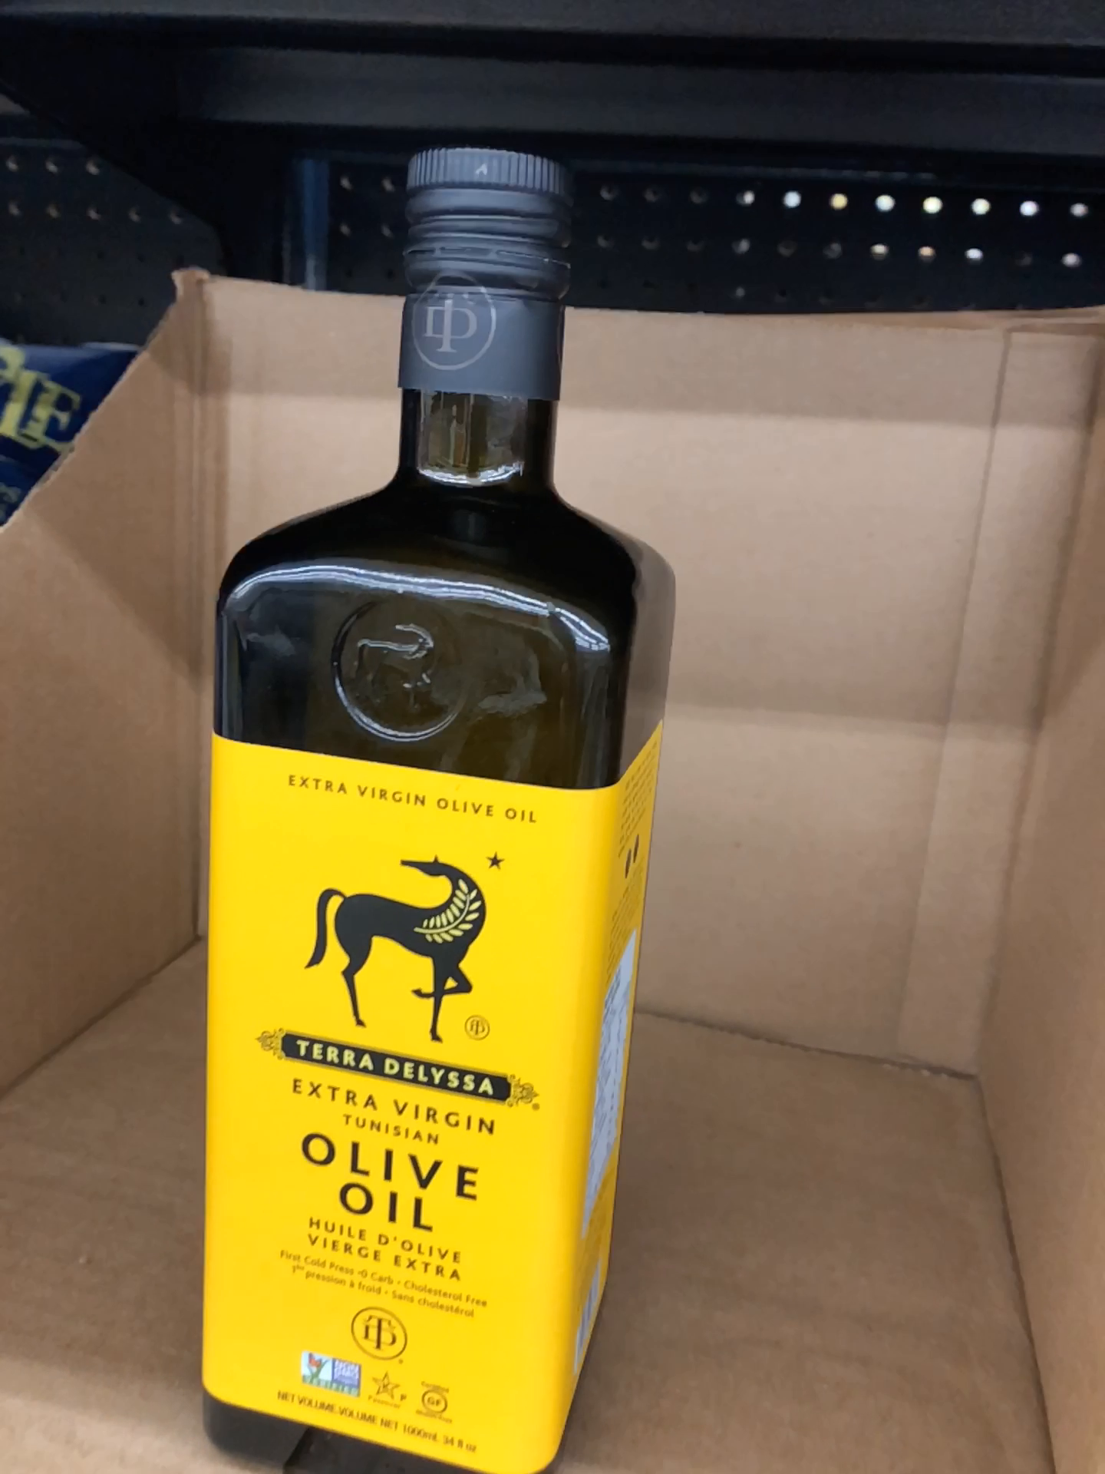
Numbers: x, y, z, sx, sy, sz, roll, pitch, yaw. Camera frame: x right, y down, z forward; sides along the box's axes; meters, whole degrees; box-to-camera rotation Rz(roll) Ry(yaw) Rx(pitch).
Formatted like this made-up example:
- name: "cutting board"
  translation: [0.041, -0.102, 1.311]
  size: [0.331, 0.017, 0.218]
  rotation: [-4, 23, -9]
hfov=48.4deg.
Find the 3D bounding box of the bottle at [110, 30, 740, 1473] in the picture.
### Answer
- name: "bottle"
  translation: [-0.023, 0.019, 0.268]
  size: [0.090, 0.288, 0.090]
  rotation: [3, 17, -1]
